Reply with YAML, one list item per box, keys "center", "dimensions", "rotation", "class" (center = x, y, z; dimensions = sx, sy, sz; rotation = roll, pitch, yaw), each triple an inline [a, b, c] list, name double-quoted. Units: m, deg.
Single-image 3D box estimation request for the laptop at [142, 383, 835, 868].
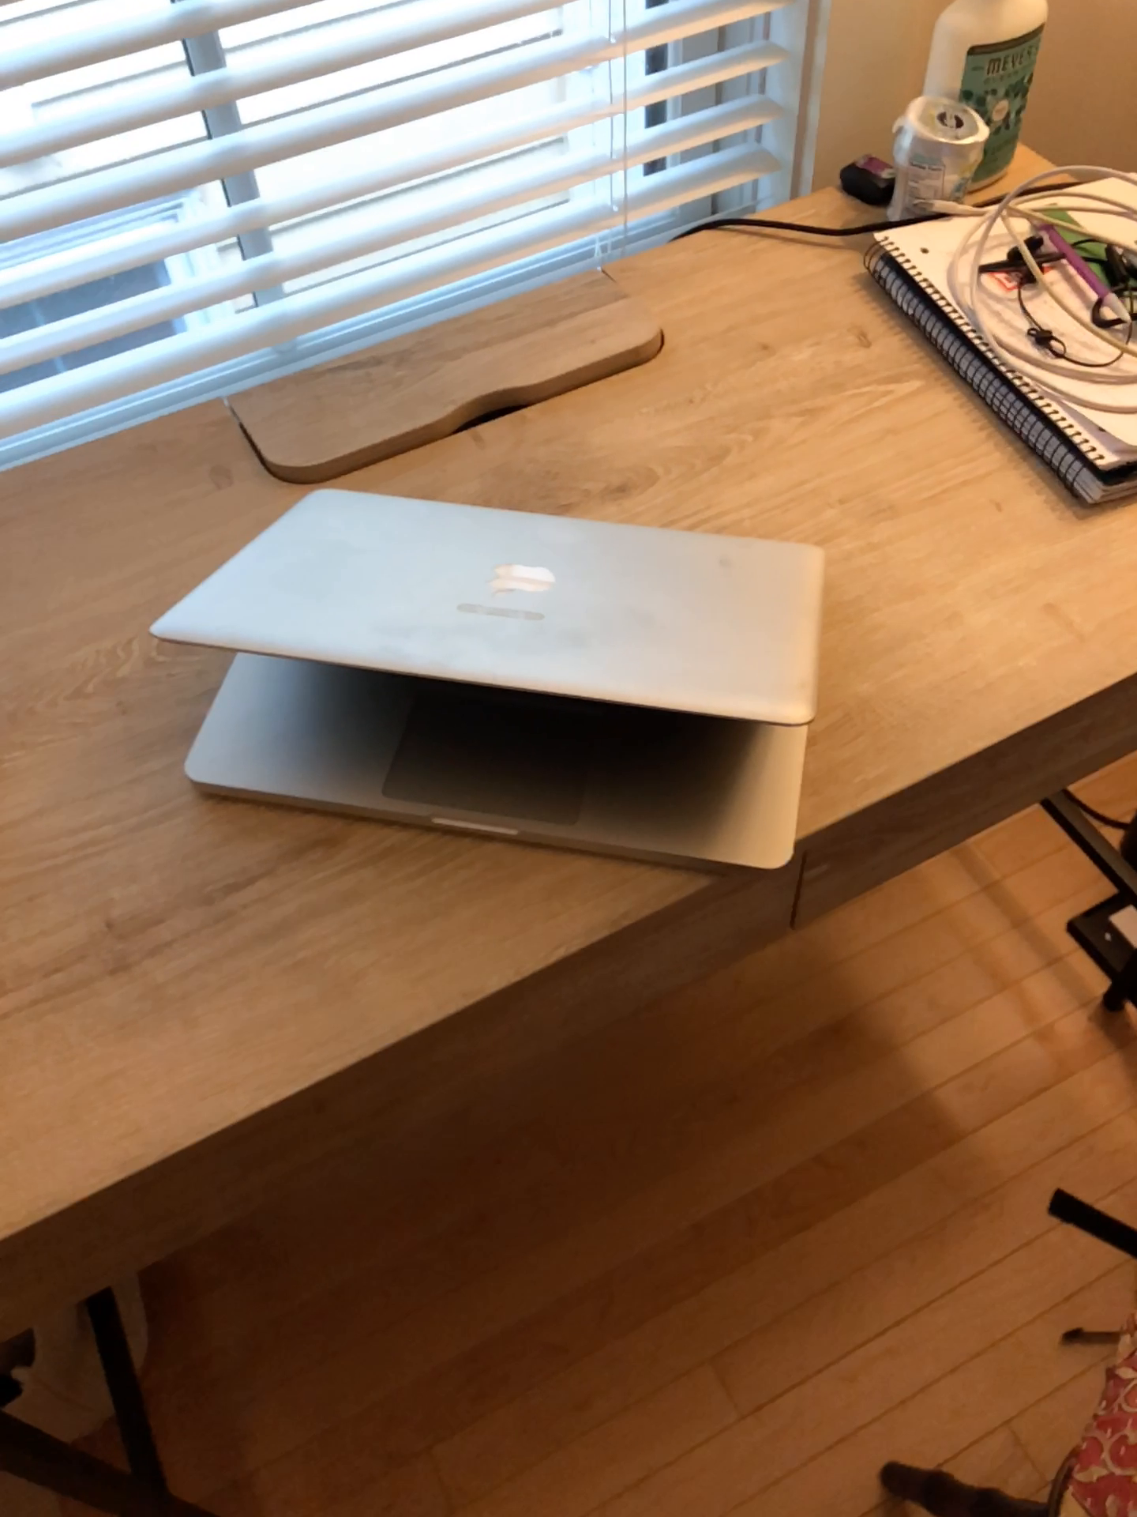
- center: [-0.027, -0.078, 0.647]
  dimensions: [0.299, 0.082, 0.210]
  rotation: [8, 55, 9]
  class: "laptop"
